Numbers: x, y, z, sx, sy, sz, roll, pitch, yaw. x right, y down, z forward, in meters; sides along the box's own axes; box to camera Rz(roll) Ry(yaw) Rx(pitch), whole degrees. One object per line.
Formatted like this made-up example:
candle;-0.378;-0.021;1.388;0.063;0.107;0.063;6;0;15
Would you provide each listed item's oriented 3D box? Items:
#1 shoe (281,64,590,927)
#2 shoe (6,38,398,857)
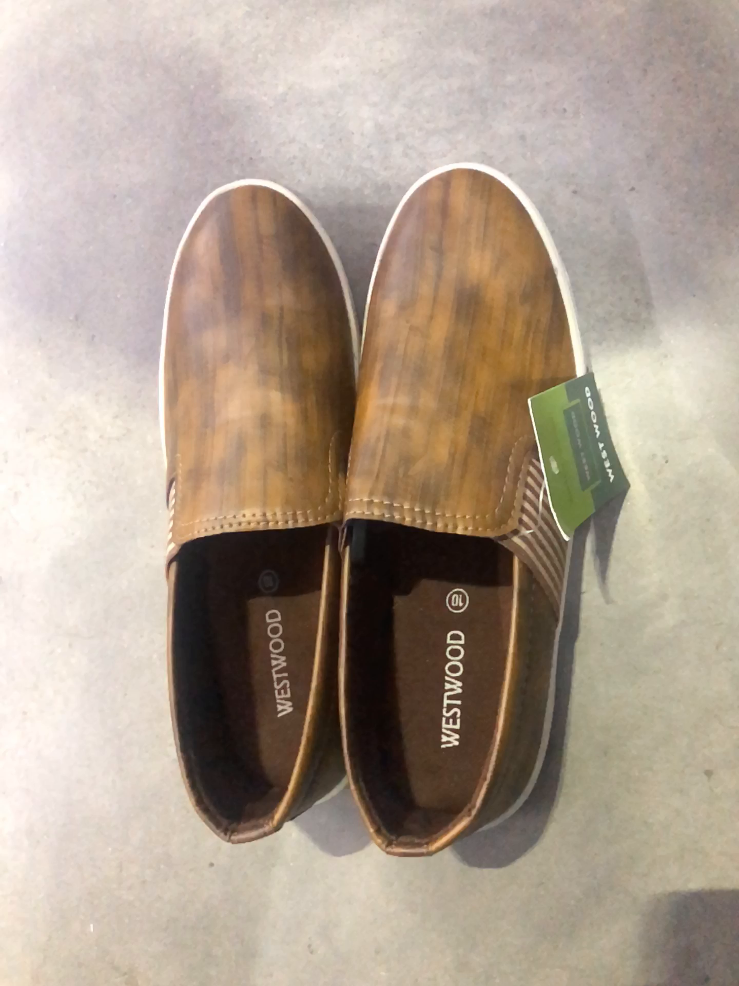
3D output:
shoe;0.035;-0.002;0.356;0.110;0.100;0.310;-1;84;17
shoe;-0.068;-0.014;0.347;0.110;0.100;0.290;-8;82;16
